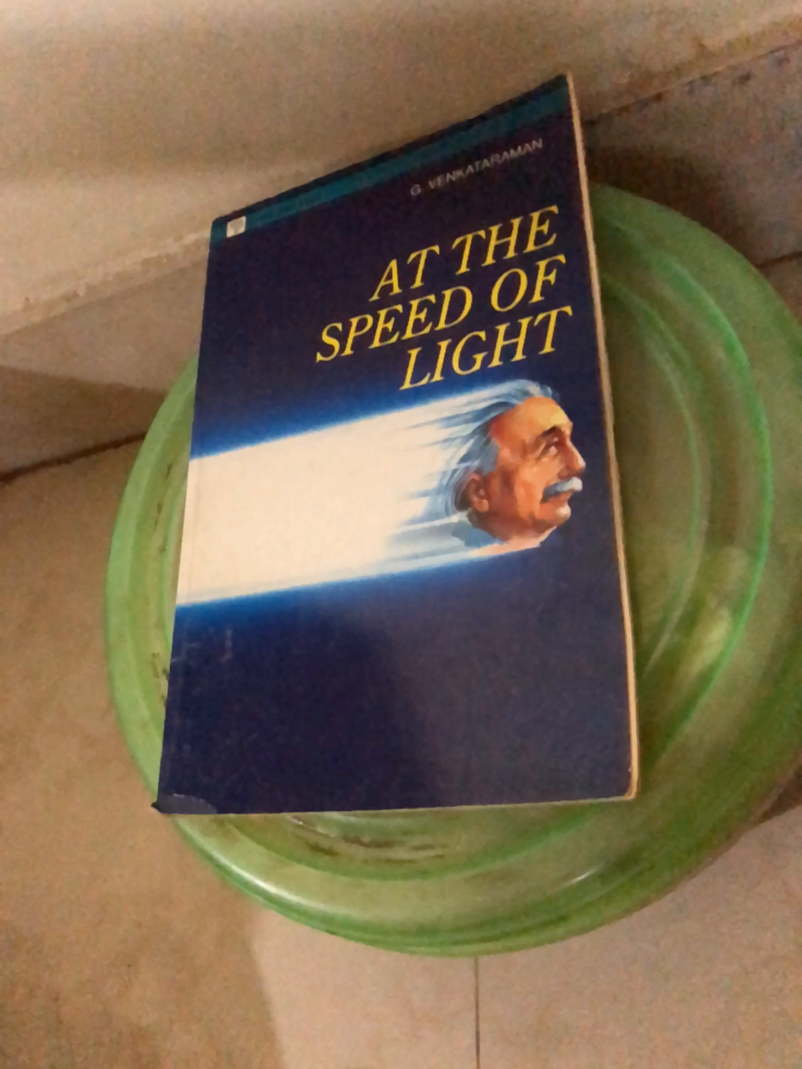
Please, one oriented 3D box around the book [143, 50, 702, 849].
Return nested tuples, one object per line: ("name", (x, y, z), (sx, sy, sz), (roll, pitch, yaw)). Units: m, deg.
("book", (-0.003, -0.028, 0.275), (0.150, 0.020, 0.230), (-12, 64, 25))
